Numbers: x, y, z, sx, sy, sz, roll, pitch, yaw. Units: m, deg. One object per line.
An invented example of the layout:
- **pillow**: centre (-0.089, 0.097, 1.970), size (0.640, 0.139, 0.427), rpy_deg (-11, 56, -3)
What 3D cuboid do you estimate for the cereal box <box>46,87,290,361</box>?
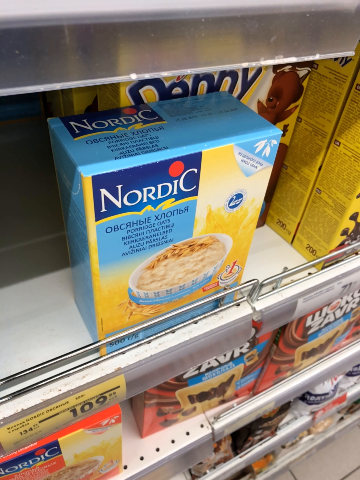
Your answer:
- **cereal box**: centre (-0.014, -0.008, 0.340), size (0.150, 0.199, 0.070), rpy_deg (-18, 48, -24)
